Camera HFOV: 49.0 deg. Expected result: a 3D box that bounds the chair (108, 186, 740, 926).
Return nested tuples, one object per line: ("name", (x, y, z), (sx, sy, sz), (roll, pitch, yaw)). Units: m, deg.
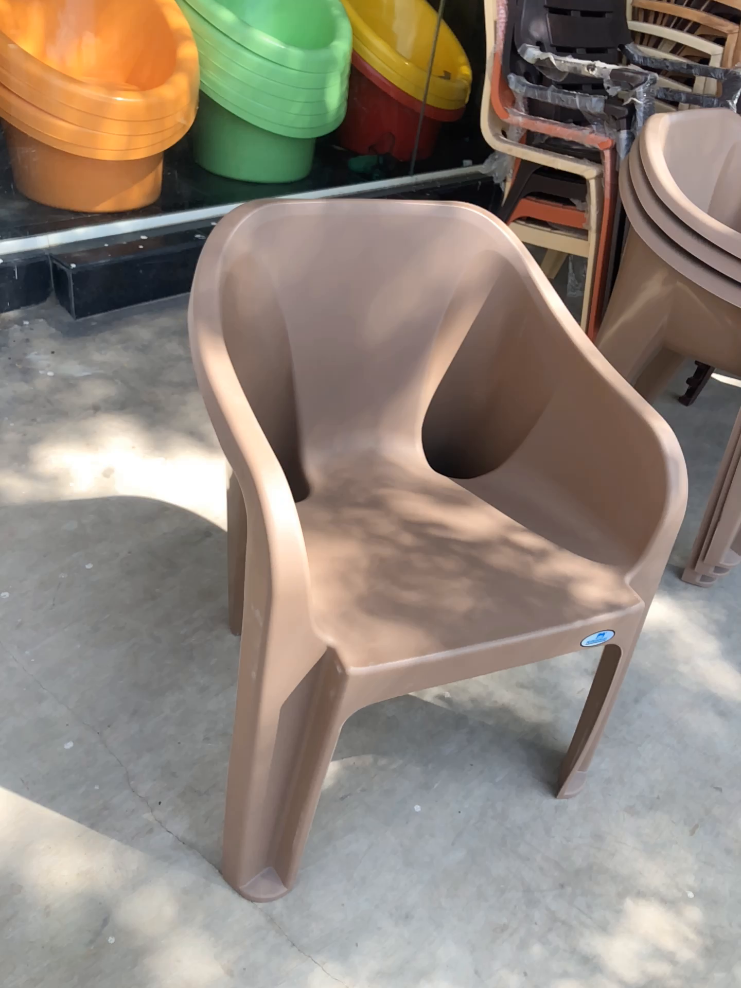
("chair", (0.027, 0.007, 1.171), (0.642, 0.636, 0.722), (-8, 40, -24))
